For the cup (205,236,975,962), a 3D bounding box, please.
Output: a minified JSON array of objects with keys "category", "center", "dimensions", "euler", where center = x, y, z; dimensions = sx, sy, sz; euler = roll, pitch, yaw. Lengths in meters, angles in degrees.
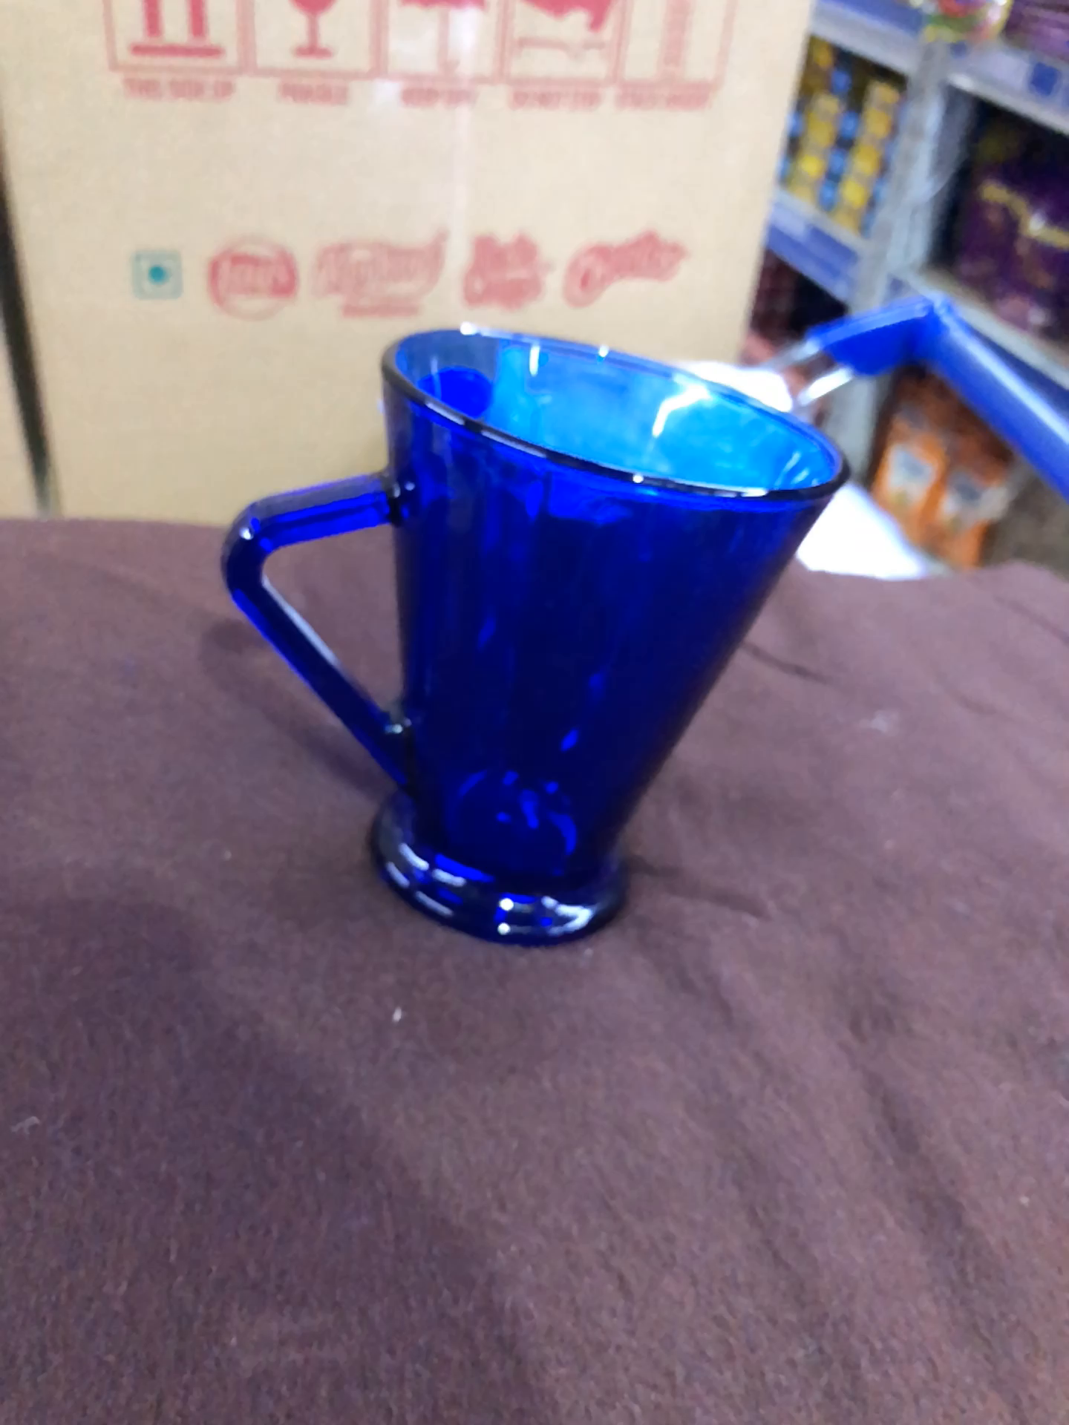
[{"category":"cup","center":[-0.002,-0.016,0.233],"dimensions":[0.110,0.109,0.070],"euler":[3,38,-17]}]
